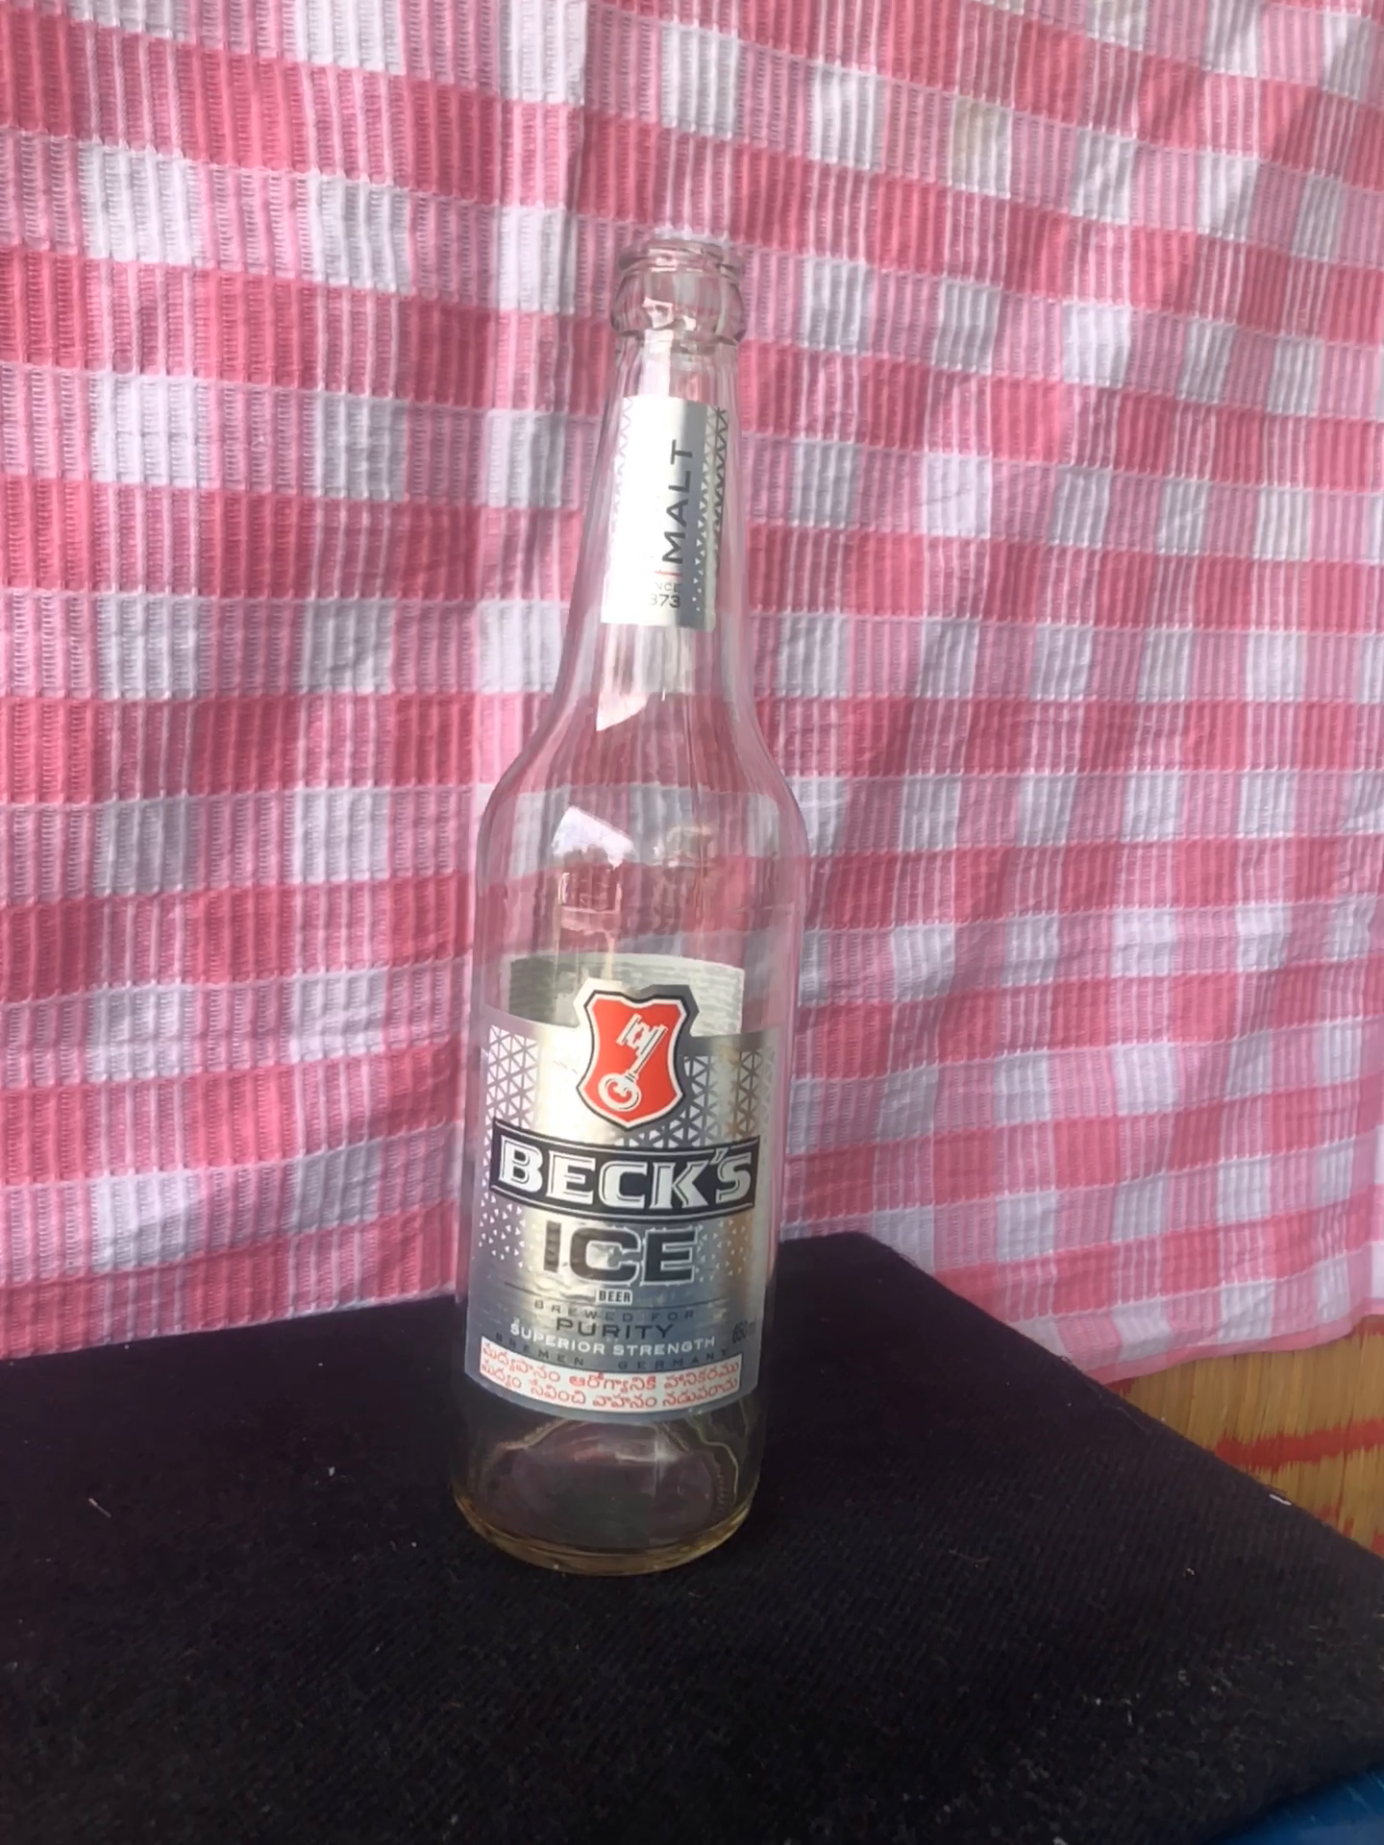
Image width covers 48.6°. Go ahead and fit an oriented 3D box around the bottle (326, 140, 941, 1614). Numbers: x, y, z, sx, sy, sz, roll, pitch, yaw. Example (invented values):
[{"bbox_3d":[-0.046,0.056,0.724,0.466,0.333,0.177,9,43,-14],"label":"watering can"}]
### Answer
[{"bbox_3d":[-0.013,-0.005,0.324,0.090,0.269,0.080,7,11,3],"label":"bottle"}]
